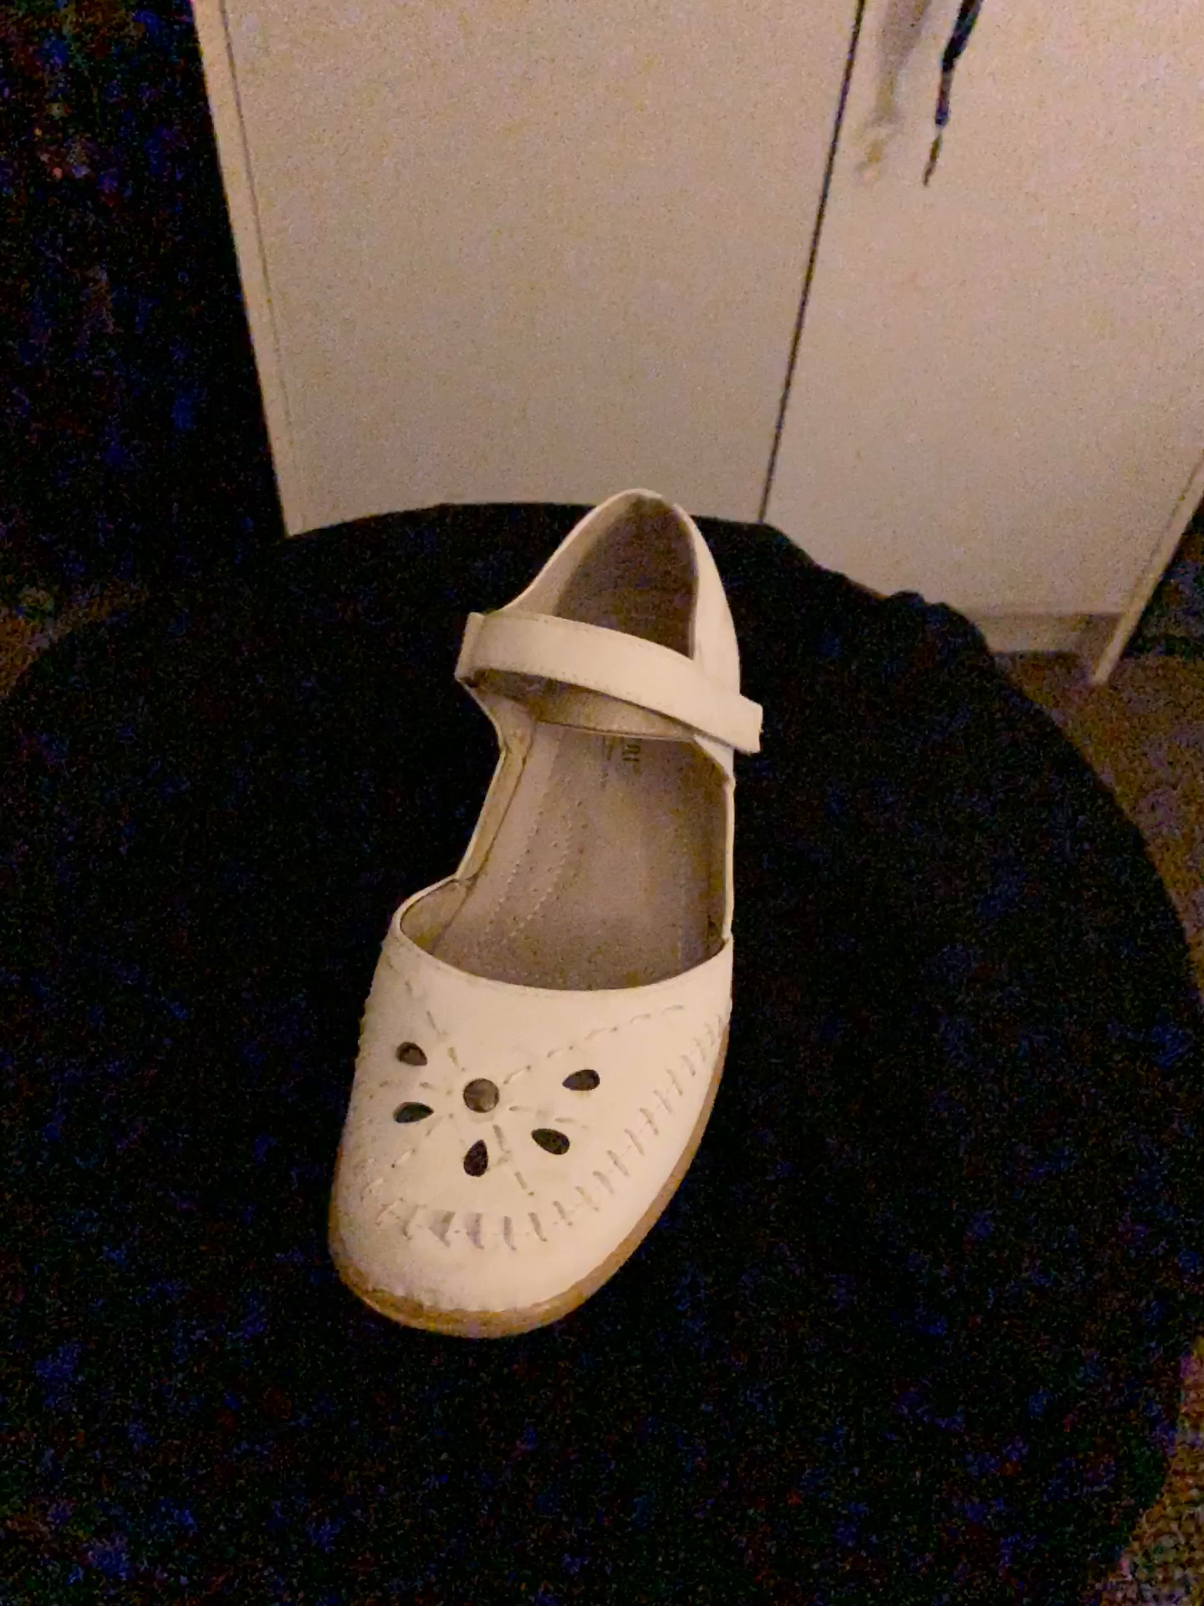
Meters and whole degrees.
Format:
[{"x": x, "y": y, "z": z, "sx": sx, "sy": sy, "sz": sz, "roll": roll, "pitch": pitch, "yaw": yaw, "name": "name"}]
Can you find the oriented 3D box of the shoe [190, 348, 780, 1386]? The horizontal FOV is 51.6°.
[{"x": -0.011, "y": -0.004, "z": 0.344, "sx": 0.097, "sy": 0.099, "sz": 0.272, "roll": 7, "pitch": 50, "yaw": 2, "name": "shoe"}]
